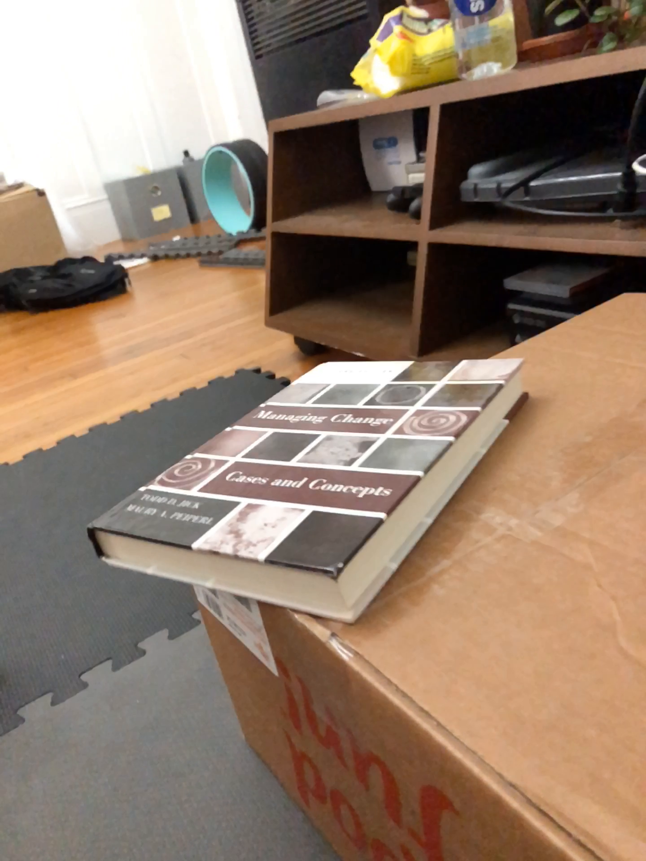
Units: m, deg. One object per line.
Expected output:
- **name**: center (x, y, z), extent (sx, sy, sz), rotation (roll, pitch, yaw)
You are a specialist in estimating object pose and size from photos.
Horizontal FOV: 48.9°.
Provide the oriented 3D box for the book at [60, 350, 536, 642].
- **book**: center (0.000, 0.012, 0.431), extent (0.180, 0.030, 0.251), rotation (4, 29, 34)
